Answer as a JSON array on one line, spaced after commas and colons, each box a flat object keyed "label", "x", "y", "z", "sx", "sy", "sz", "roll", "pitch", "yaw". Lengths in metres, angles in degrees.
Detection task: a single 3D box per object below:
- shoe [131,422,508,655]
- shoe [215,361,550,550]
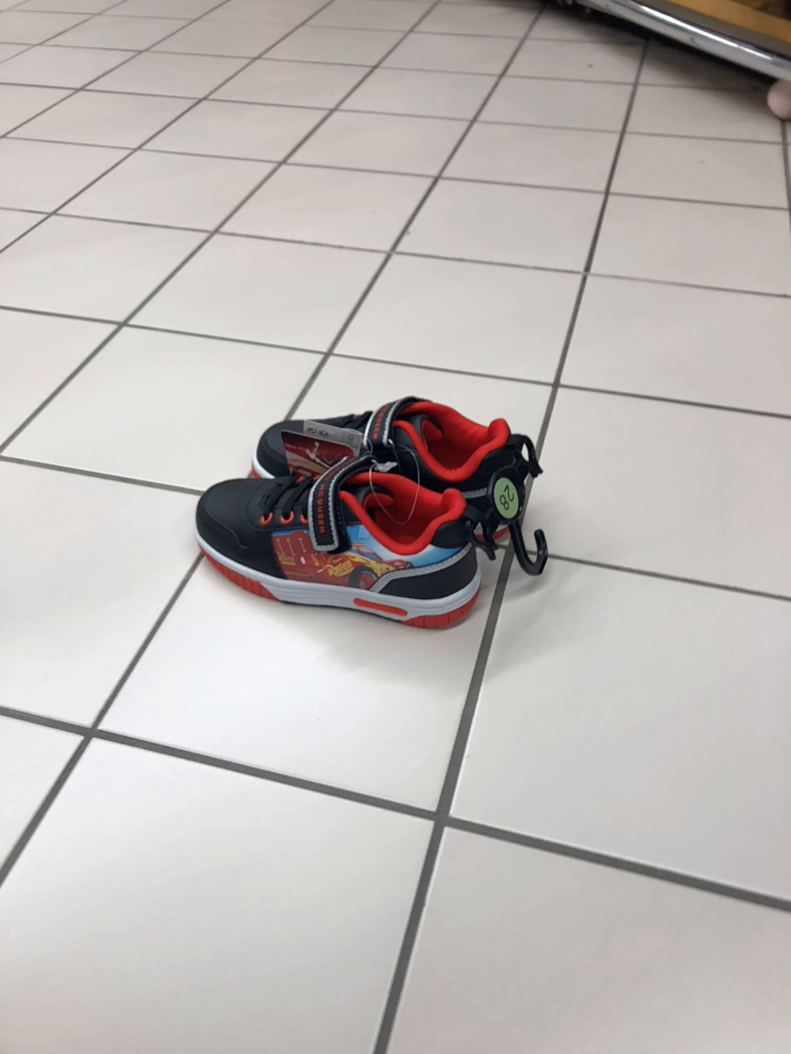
[{"label": "shoe", "x": -0.044, "y": 0.001, "z": 0.543, "sx": 0.206, "sy": 0.053, "sz": 0.095, "roll": 13, "pitch": 45, "yaw": 15}, {"label": "shoe", "x": -0.008, "y": -0.053, "z": 0.599, "sx": 0.209, "sy": 0.053, "sz": 0.080, "roll": 13, "pitch": 45, "yaw": 15}]
